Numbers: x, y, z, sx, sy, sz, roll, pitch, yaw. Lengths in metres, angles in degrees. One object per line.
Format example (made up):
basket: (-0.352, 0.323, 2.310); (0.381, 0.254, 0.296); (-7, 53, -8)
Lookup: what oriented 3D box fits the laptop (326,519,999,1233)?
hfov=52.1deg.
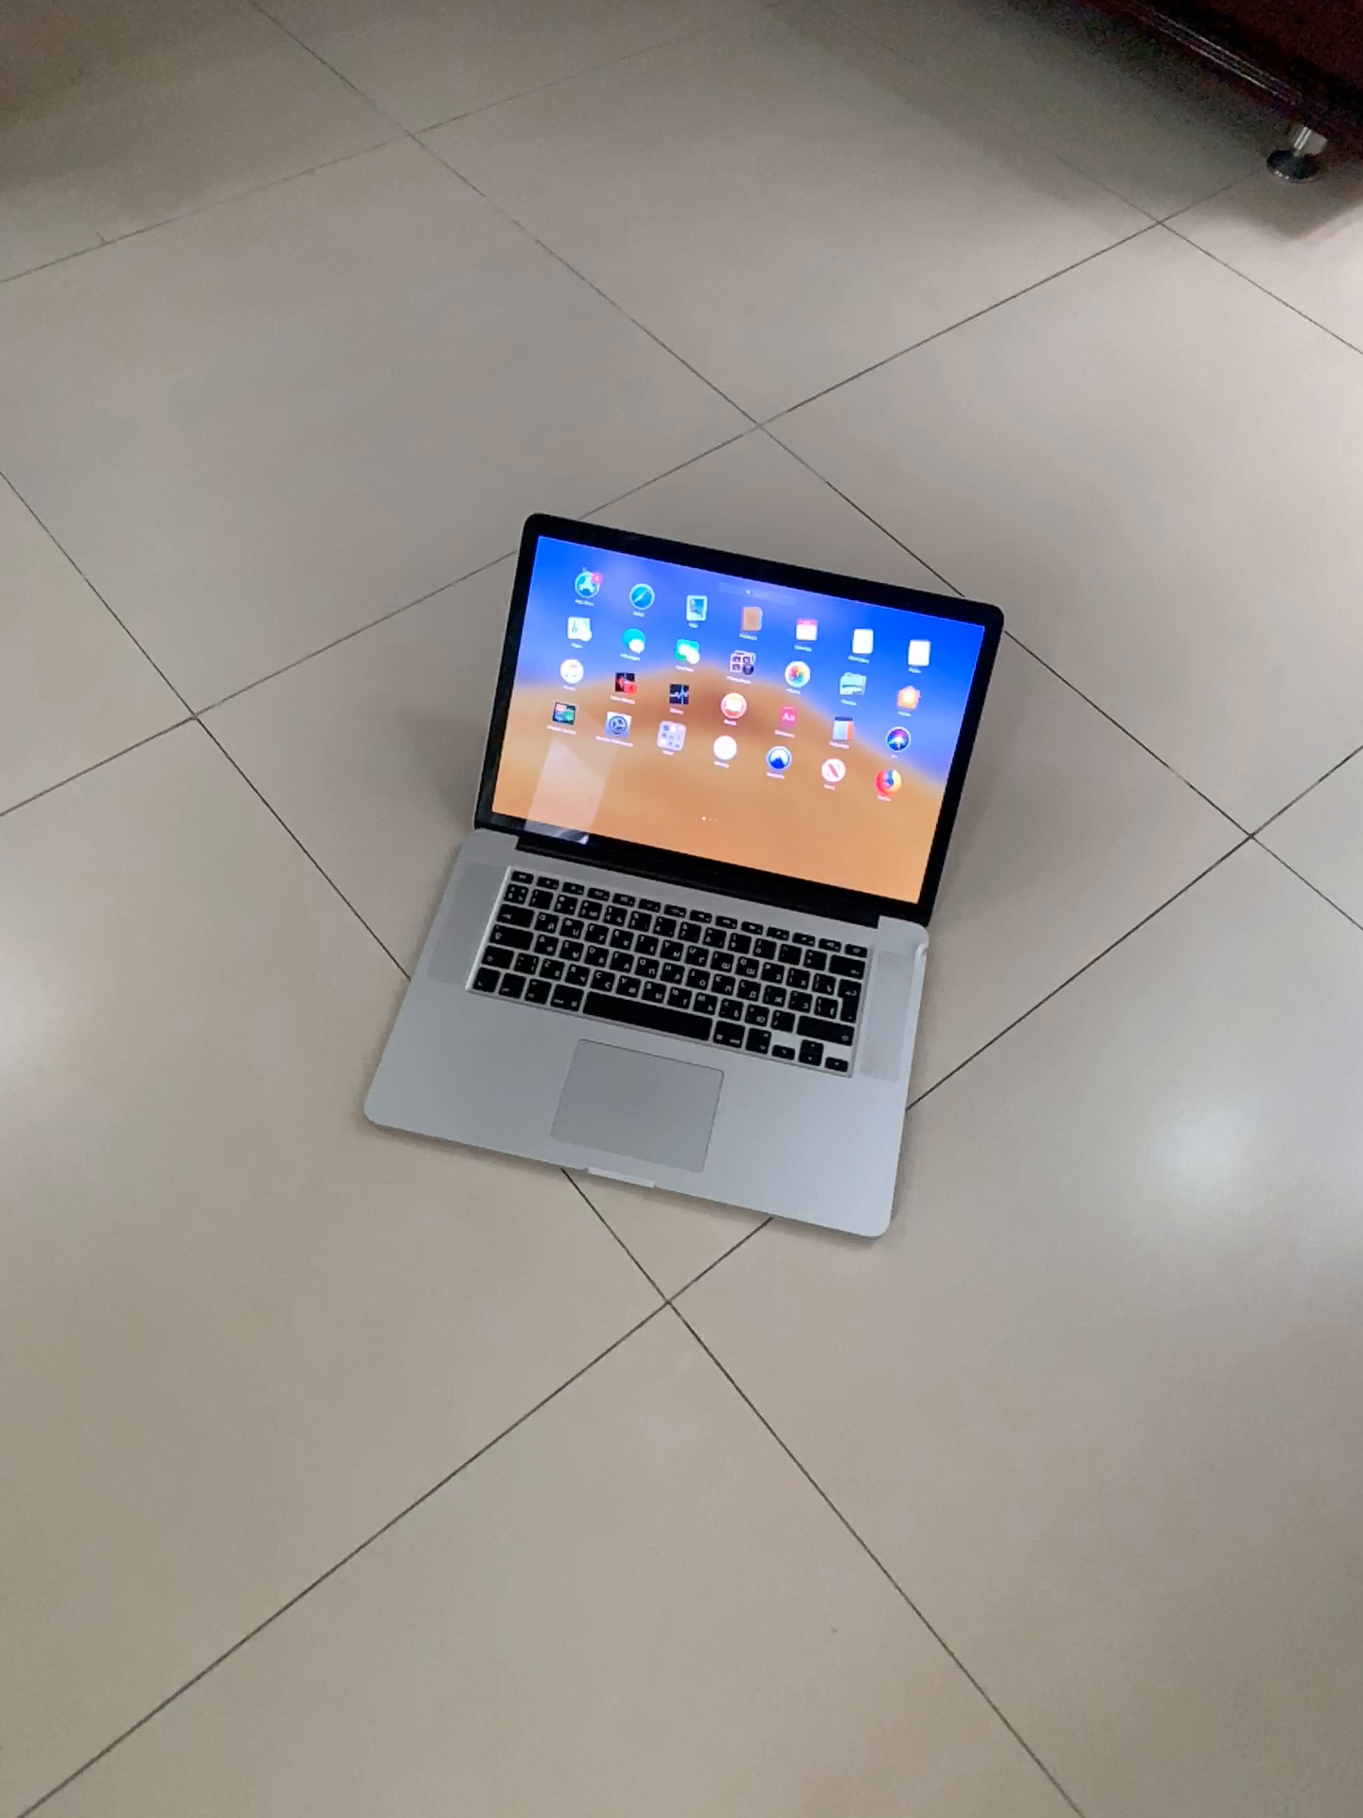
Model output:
laptop: (0.008, -0.036, 0.966); (0.352, 0.162, 0.416); (12, 57, 3)
